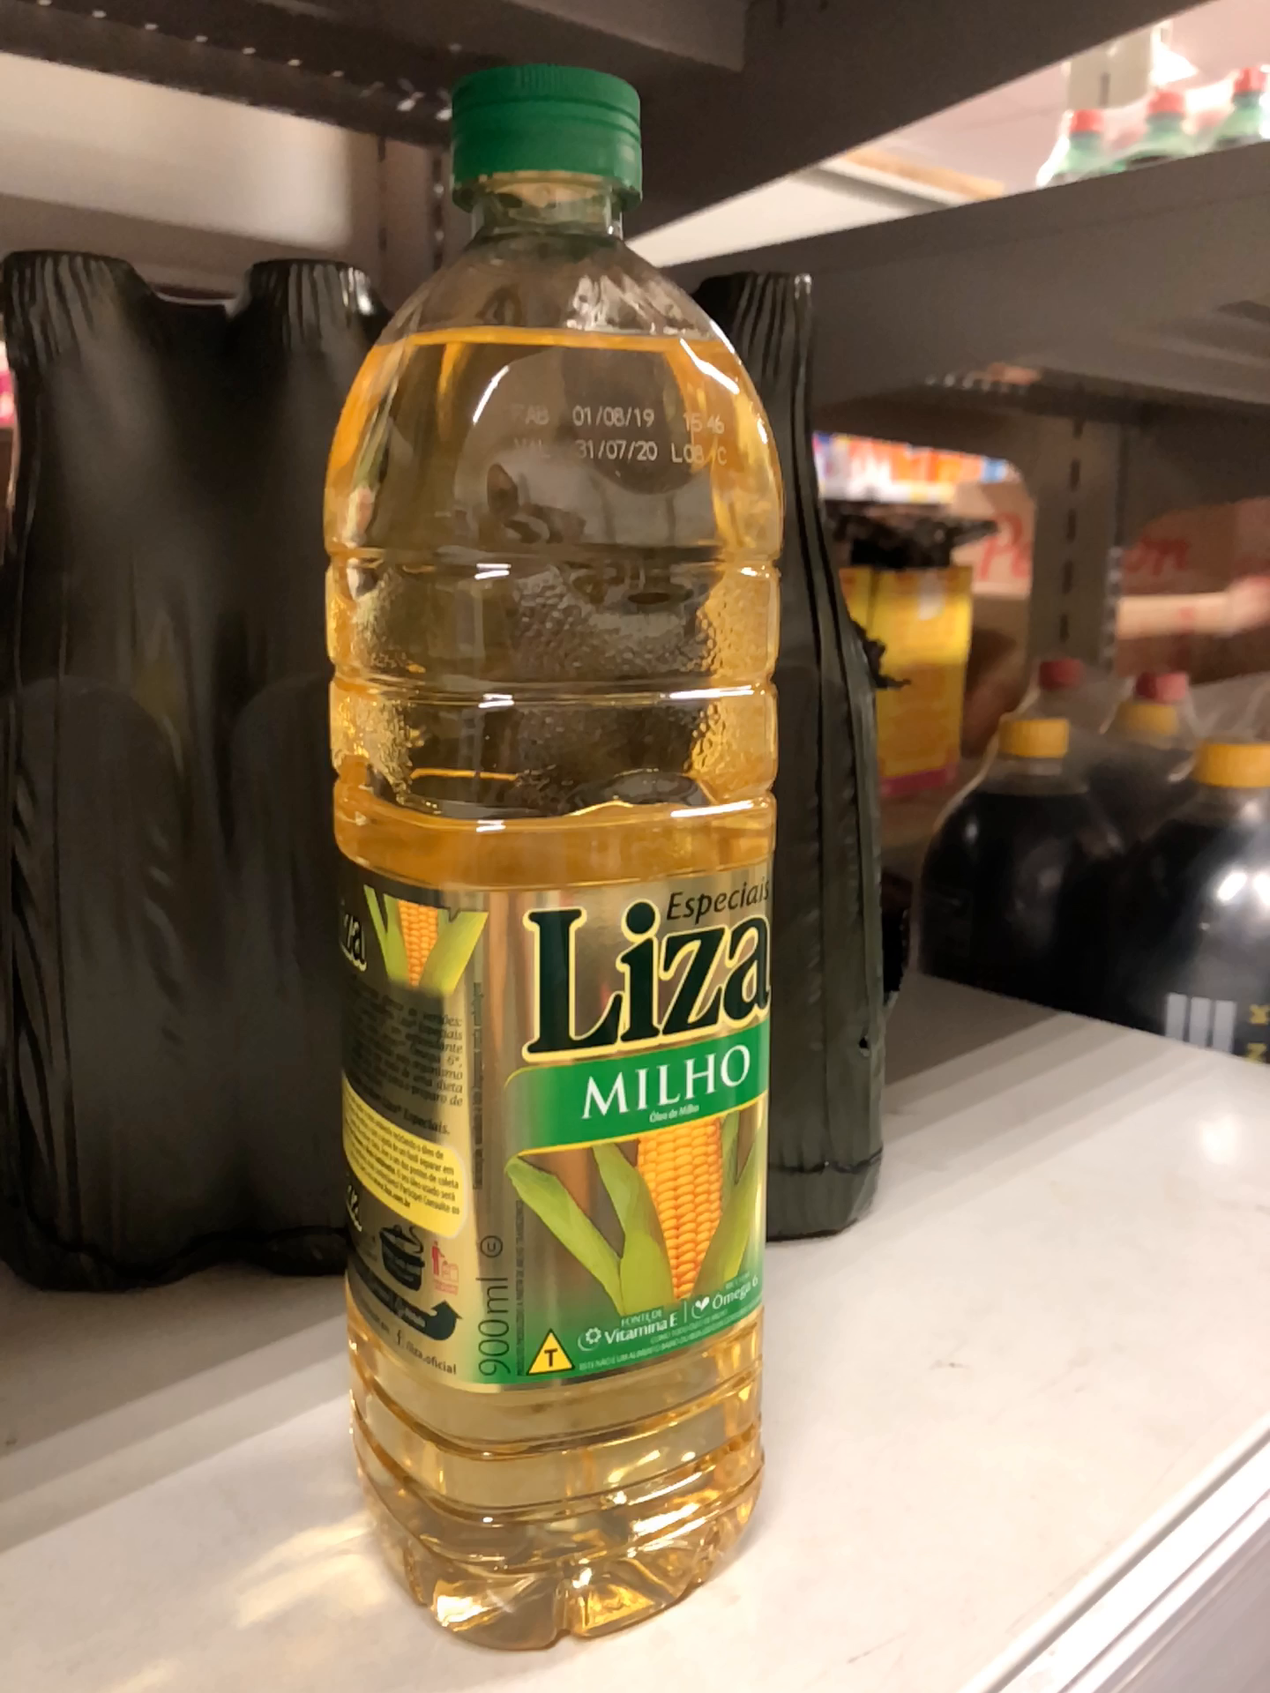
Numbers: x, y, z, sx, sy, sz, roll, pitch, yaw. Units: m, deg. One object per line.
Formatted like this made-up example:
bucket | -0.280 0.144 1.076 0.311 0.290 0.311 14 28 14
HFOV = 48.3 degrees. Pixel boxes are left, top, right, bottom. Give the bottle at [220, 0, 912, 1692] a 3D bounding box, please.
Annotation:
bottle | -0.013 -0.002 0.240 0.080 0.249 0.070 -8 15 -32
